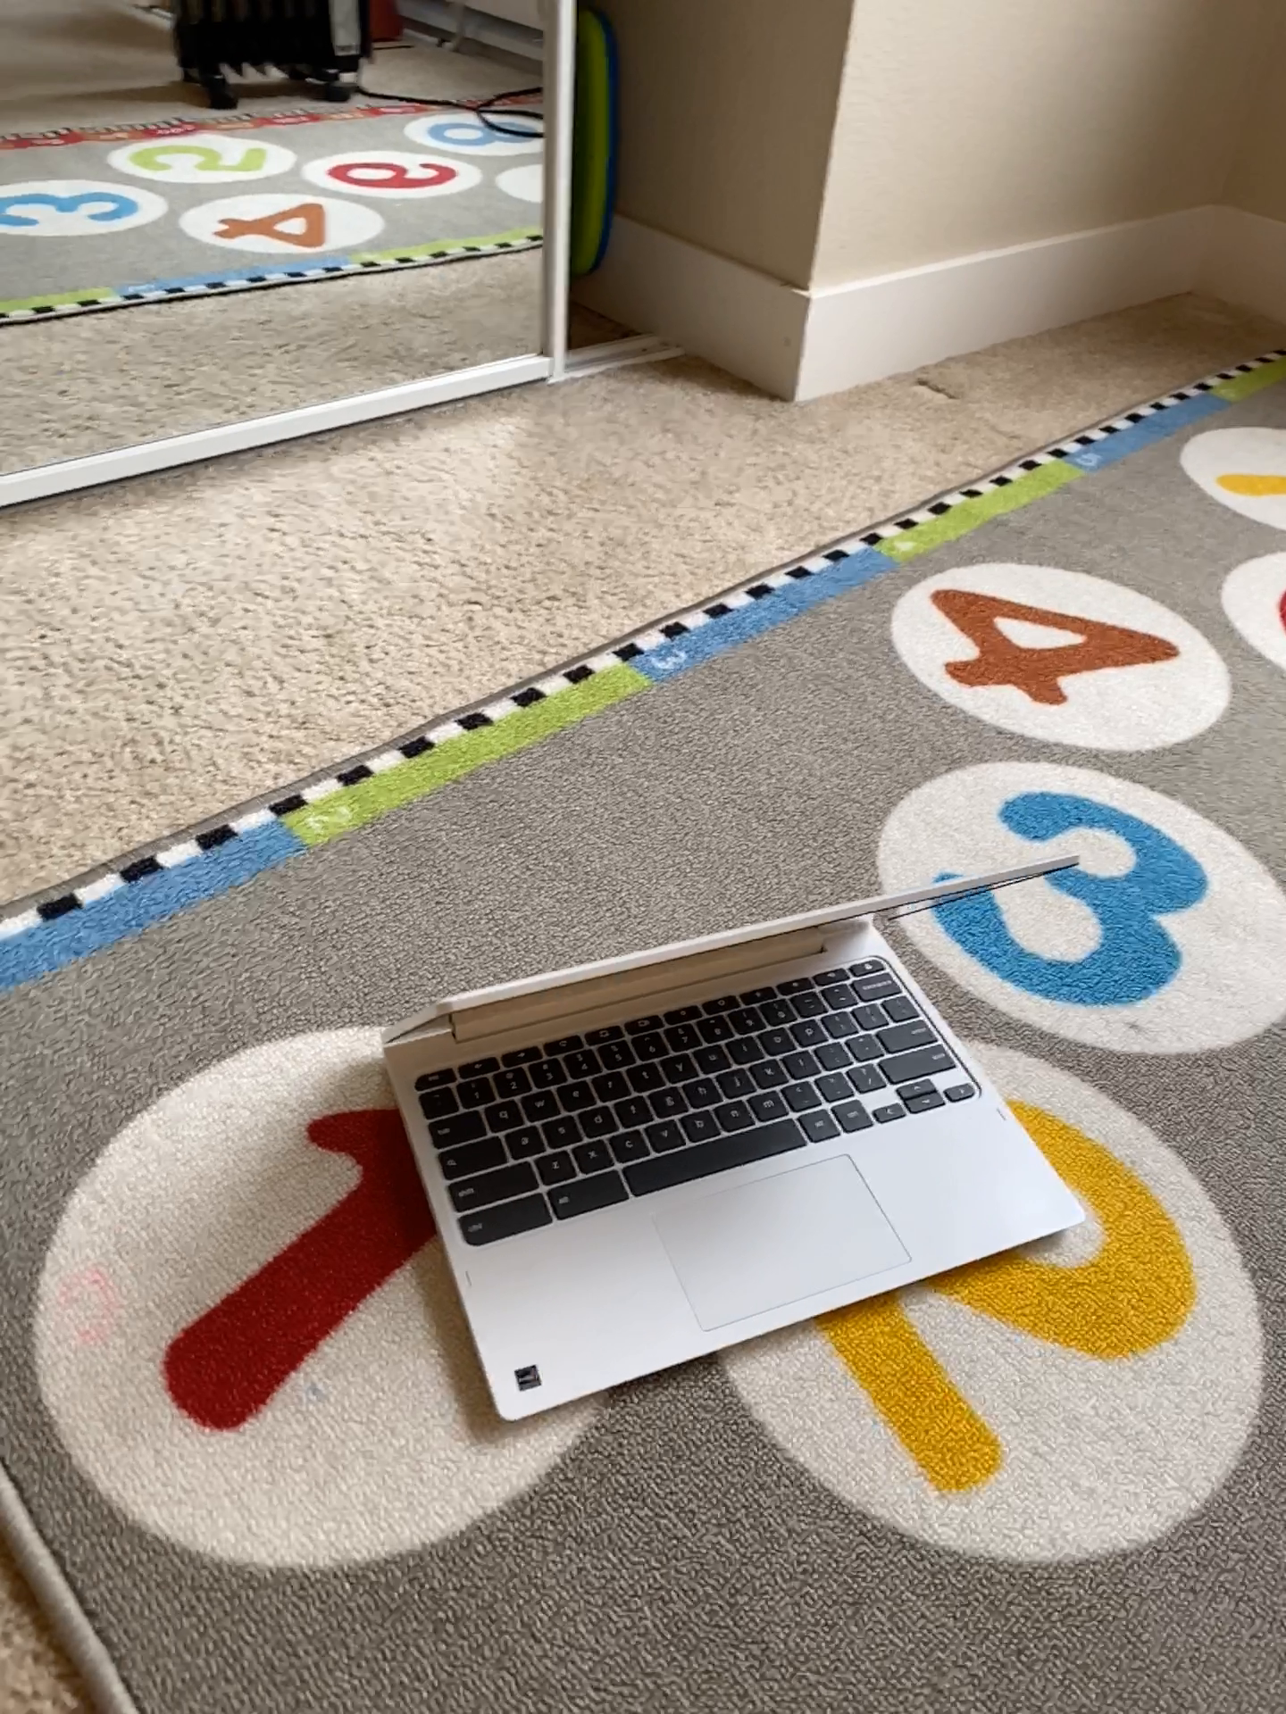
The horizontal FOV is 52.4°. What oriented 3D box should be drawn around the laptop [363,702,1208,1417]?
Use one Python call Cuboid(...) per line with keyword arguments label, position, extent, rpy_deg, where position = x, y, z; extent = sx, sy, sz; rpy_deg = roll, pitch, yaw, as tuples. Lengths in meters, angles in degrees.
Cuboid(label="laptop", position=(0.046, 0.075, 0.612), extent=(0.299, 0.162, 0.217), rpy_deg=(-11, 43, -20))
